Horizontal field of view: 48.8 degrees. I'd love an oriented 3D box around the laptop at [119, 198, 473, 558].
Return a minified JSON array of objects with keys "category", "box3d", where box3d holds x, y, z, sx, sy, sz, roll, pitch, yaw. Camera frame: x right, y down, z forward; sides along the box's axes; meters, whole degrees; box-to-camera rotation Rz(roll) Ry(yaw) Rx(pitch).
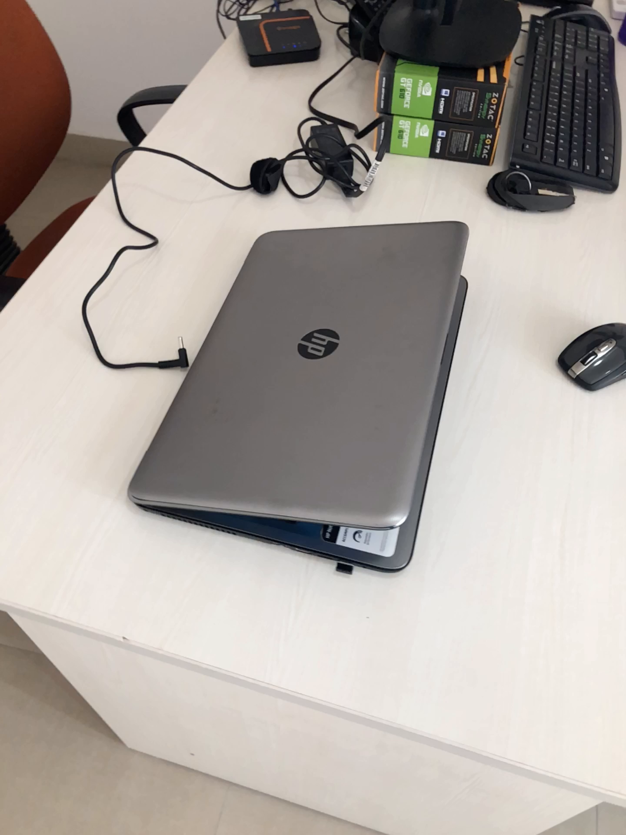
[{"category":"laptop","box3d":[0.007,-0.063,0.653,0.226,0.062,0.357,12,53,10]}]
